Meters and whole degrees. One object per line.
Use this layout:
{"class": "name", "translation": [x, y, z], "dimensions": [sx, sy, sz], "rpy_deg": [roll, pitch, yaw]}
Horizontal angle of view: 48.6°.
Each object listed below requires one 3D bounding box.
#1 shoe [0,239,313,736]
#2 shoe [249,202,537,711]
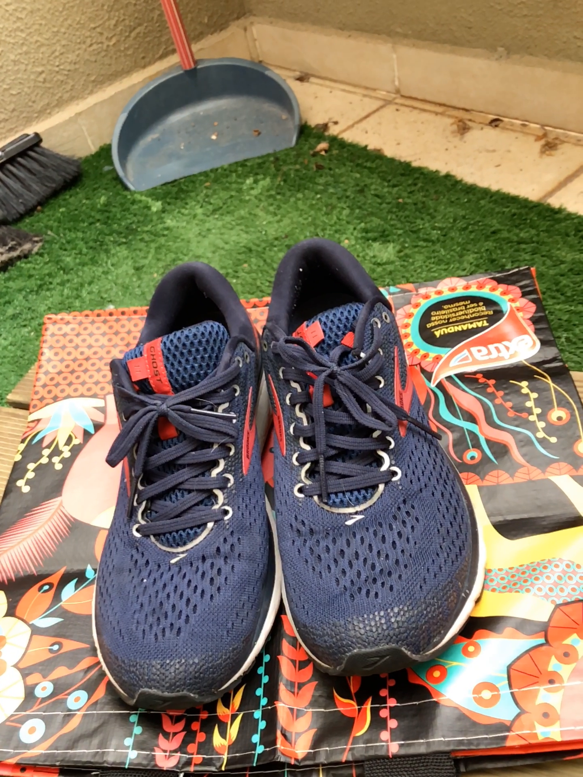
{"class": "shoe", "translation": [-0.059, 0.038, 0.380], "dimensions": [0.107, 0.099, 0.267], "rpy_deg": [-12, 44, 8]}
{"class": "shoe", "translation": [0.041, 0.017, 0.365], "dimensions": [0.100, 0.099, 0.267], "rpy_deg": [-13, 44, 7]}
